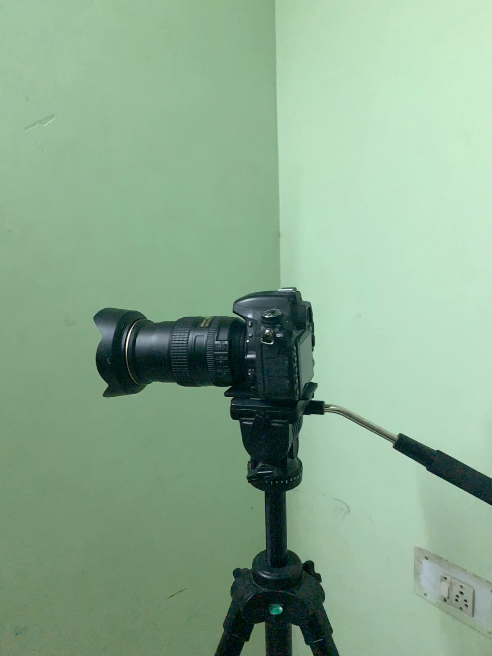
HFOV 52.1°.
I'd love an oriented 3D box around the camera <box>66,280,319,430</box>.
[{"bbox_3d":[-0.051,0.018,0.602,0.250,0.132,0.164,1,12,17],"label":"camera"}]
